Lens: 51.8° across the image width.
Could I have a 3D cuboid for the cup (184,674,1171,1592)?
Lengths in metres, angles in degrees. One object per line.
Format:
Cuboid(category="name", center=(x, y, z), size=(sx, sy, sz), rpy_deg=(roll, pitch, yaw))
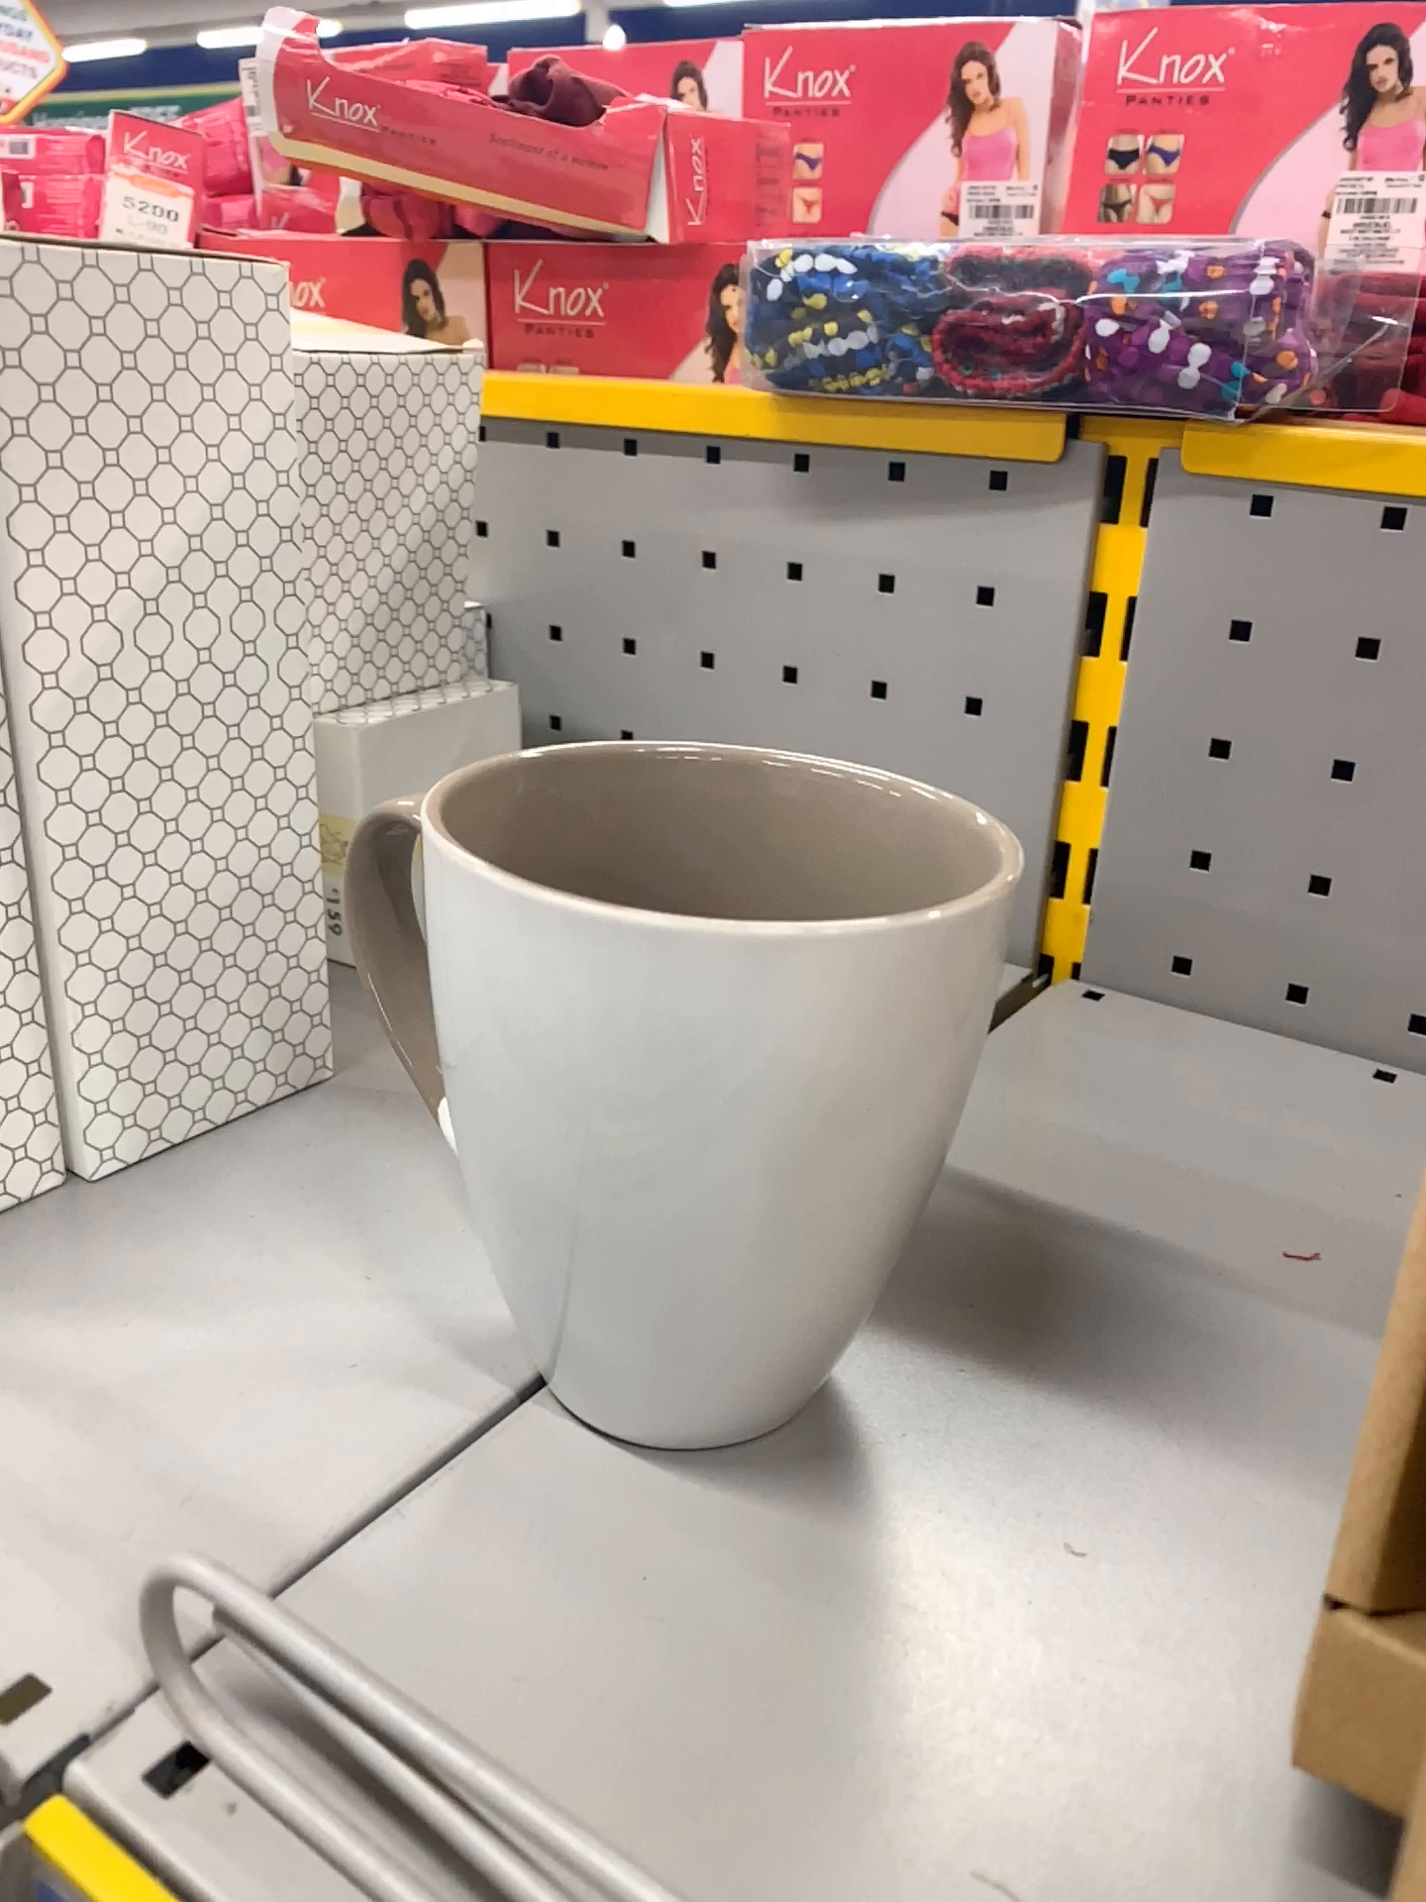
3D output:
Cuboid(category="cup", center=(-0.009, 0.016, 0.275), size=(0.140, 0.100, 0.100), rpy_deg=(18, 27, 33))
